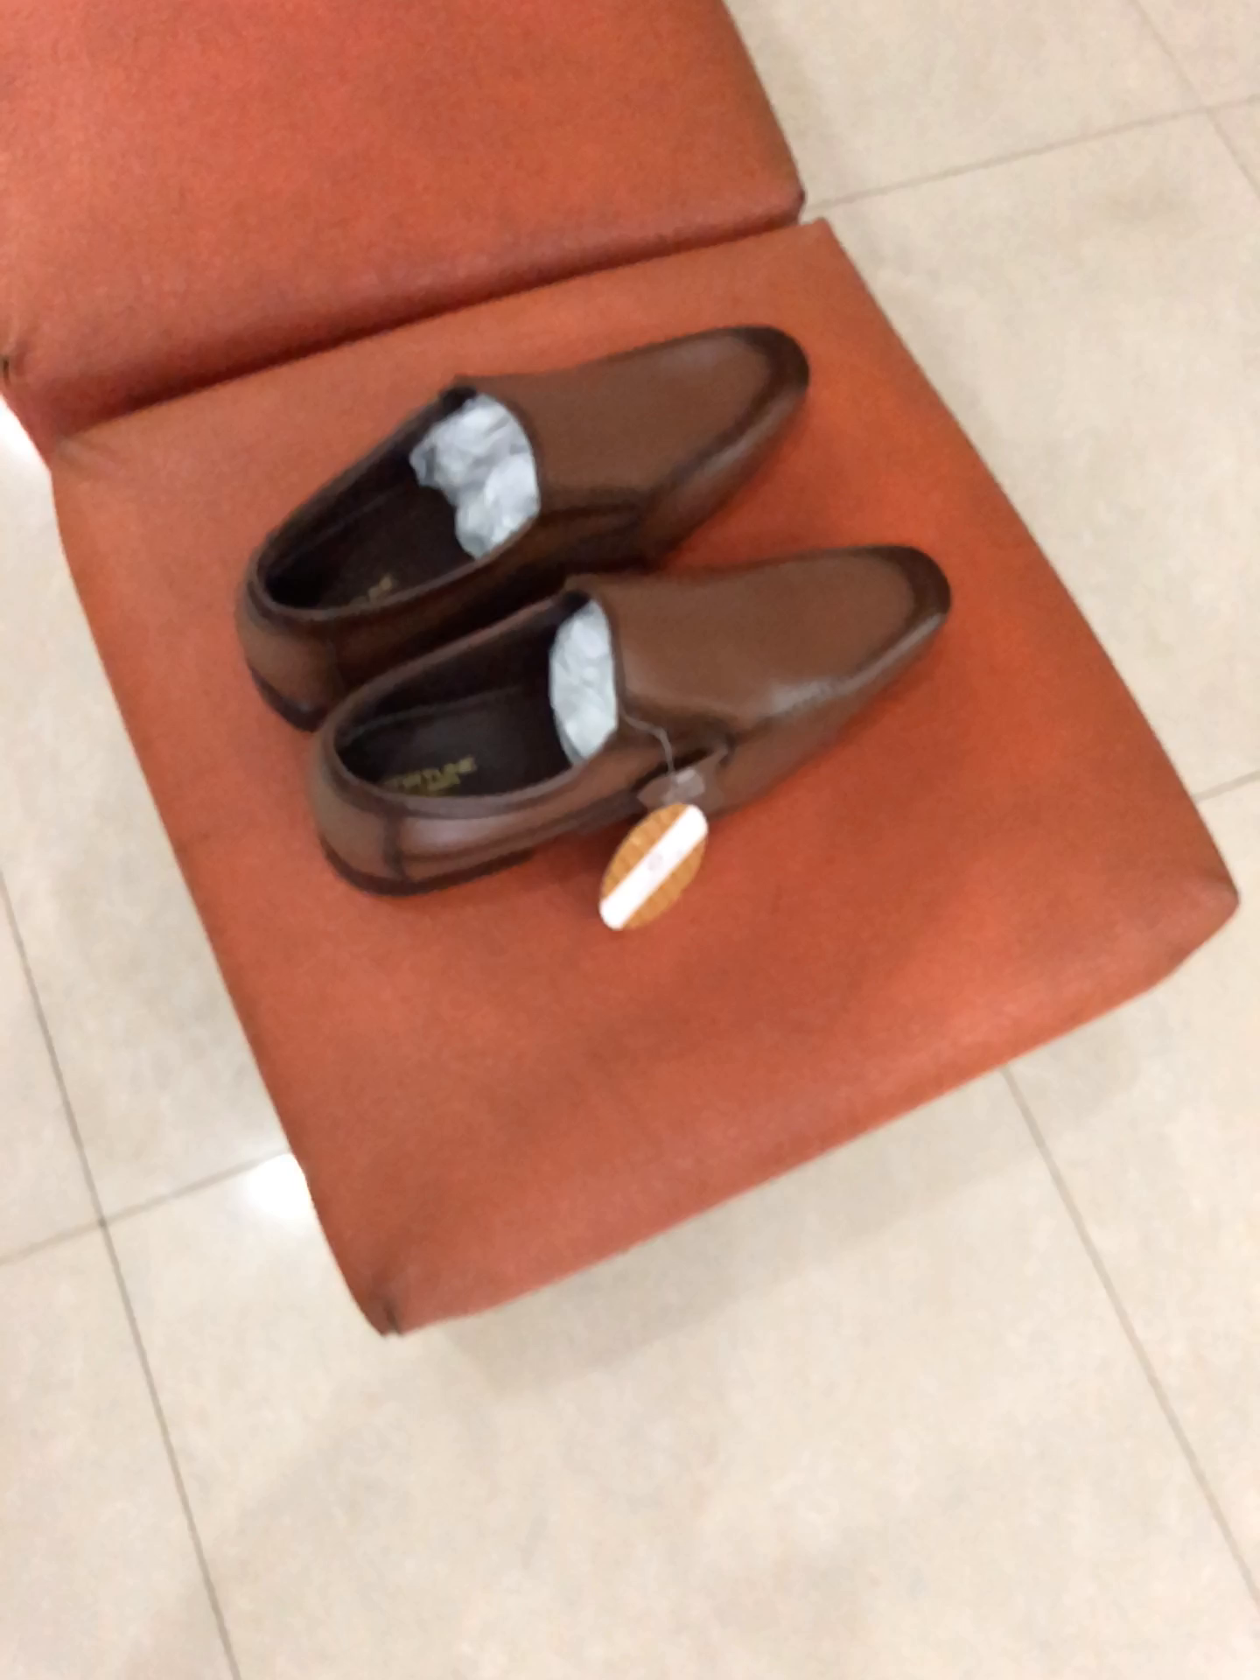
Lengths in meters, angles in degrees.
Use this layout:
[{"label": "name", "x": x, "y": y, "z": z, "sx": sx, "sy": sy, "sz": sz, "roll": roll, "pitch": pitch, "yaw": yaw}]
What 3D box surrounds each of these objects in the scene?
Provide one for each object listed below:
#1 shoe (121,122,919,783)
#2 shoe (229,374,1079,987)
[{"label": "shoe", "x": -0.038, "y": -0.159, "z": 0.579, "sx": 0.295, "sy": 0.108, "sz": 0.101, "roll": -34, "pitch": 79, "yaw": -16}, {"label": "shoe", "x": 0.008, "y": -0.061, "z": 0.562, "sx": 0.293, "sy": 0.128, "sz": 0.099, "roll": -24, "pitch": 76, "yaw": -14}]
